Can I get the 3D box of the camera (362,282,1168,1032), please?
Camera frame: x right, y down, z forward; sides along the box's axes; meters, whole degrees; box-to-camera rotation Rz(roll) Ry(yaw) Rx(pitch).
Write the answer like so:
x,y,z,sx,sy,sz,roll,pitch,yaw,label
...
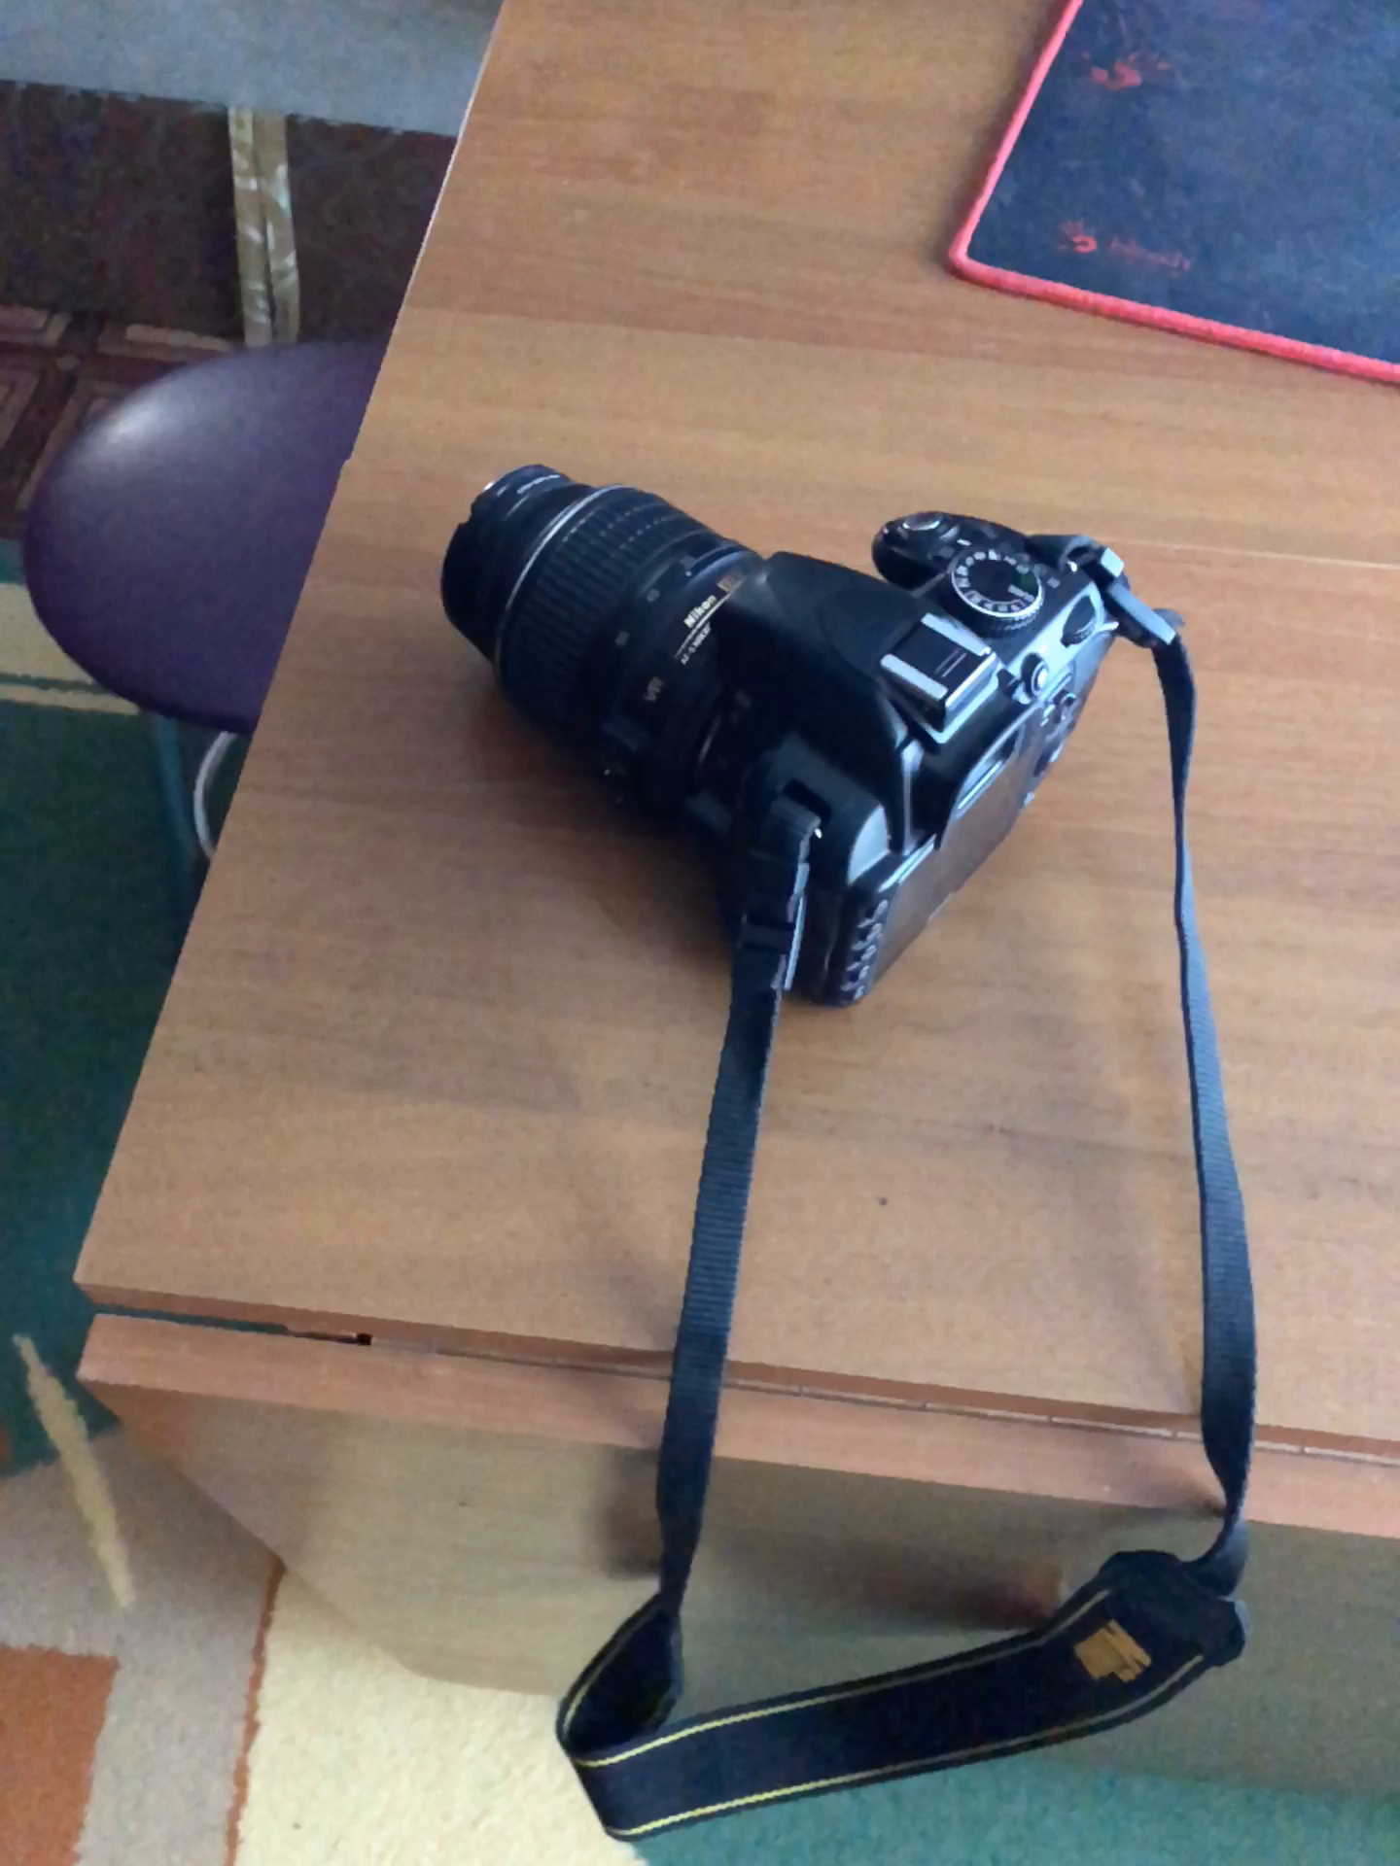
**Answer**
x,y,z,sx,sy,sz,roll,pitch,yaw,label
0.014,-0.077,0.408,0.161,0.078,0.111,37,64,19,camera
